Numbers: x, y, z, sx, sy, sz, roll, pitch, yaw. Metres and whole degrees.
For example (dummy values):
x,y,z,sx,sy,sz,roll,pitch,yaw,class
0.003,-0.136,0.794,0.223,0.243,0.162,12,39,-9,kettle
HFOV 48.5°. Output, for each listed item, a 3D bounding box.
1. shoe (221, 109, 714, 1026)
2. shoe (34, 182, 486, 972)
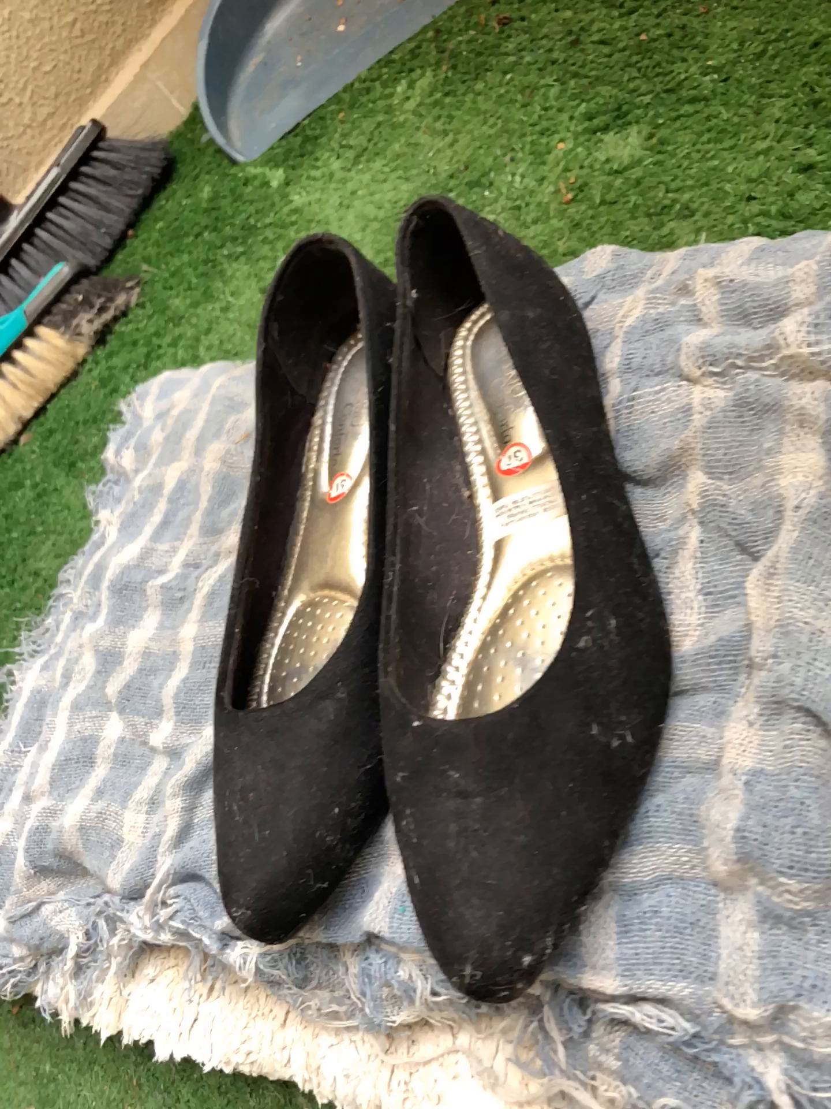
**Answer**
x,y,z,sx,sy,sz,roll,pitch,yaw,class
0.019,-0.006,0.293,0.090,0.080,0.271,-18,53,30,shoe
-0.041,0.000,0.343,0.090,0.080,0.271,-14,55,32,shoe
